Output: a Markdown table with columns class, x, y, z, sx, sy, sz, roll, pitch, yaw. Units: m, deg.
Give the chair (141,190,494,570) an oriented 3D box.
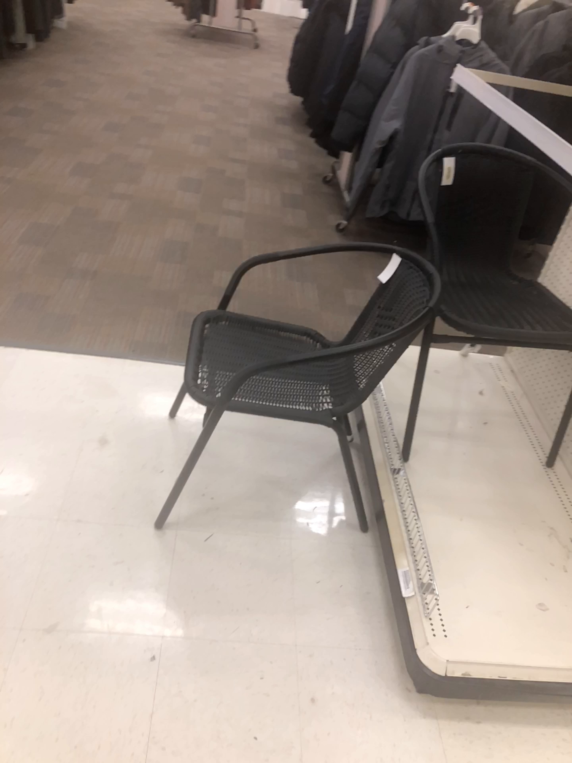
| class | x | y | z | sx | sy | sz | roll | pitch | yaw |
| --- | --- | --- | --- | --- | --- | --- | --- | --- | --- |
| chair | 0.023 | 0.002 | 1.593 | 0.640 | 0.696 | 0.533 | 8 | 36 | -6 |
